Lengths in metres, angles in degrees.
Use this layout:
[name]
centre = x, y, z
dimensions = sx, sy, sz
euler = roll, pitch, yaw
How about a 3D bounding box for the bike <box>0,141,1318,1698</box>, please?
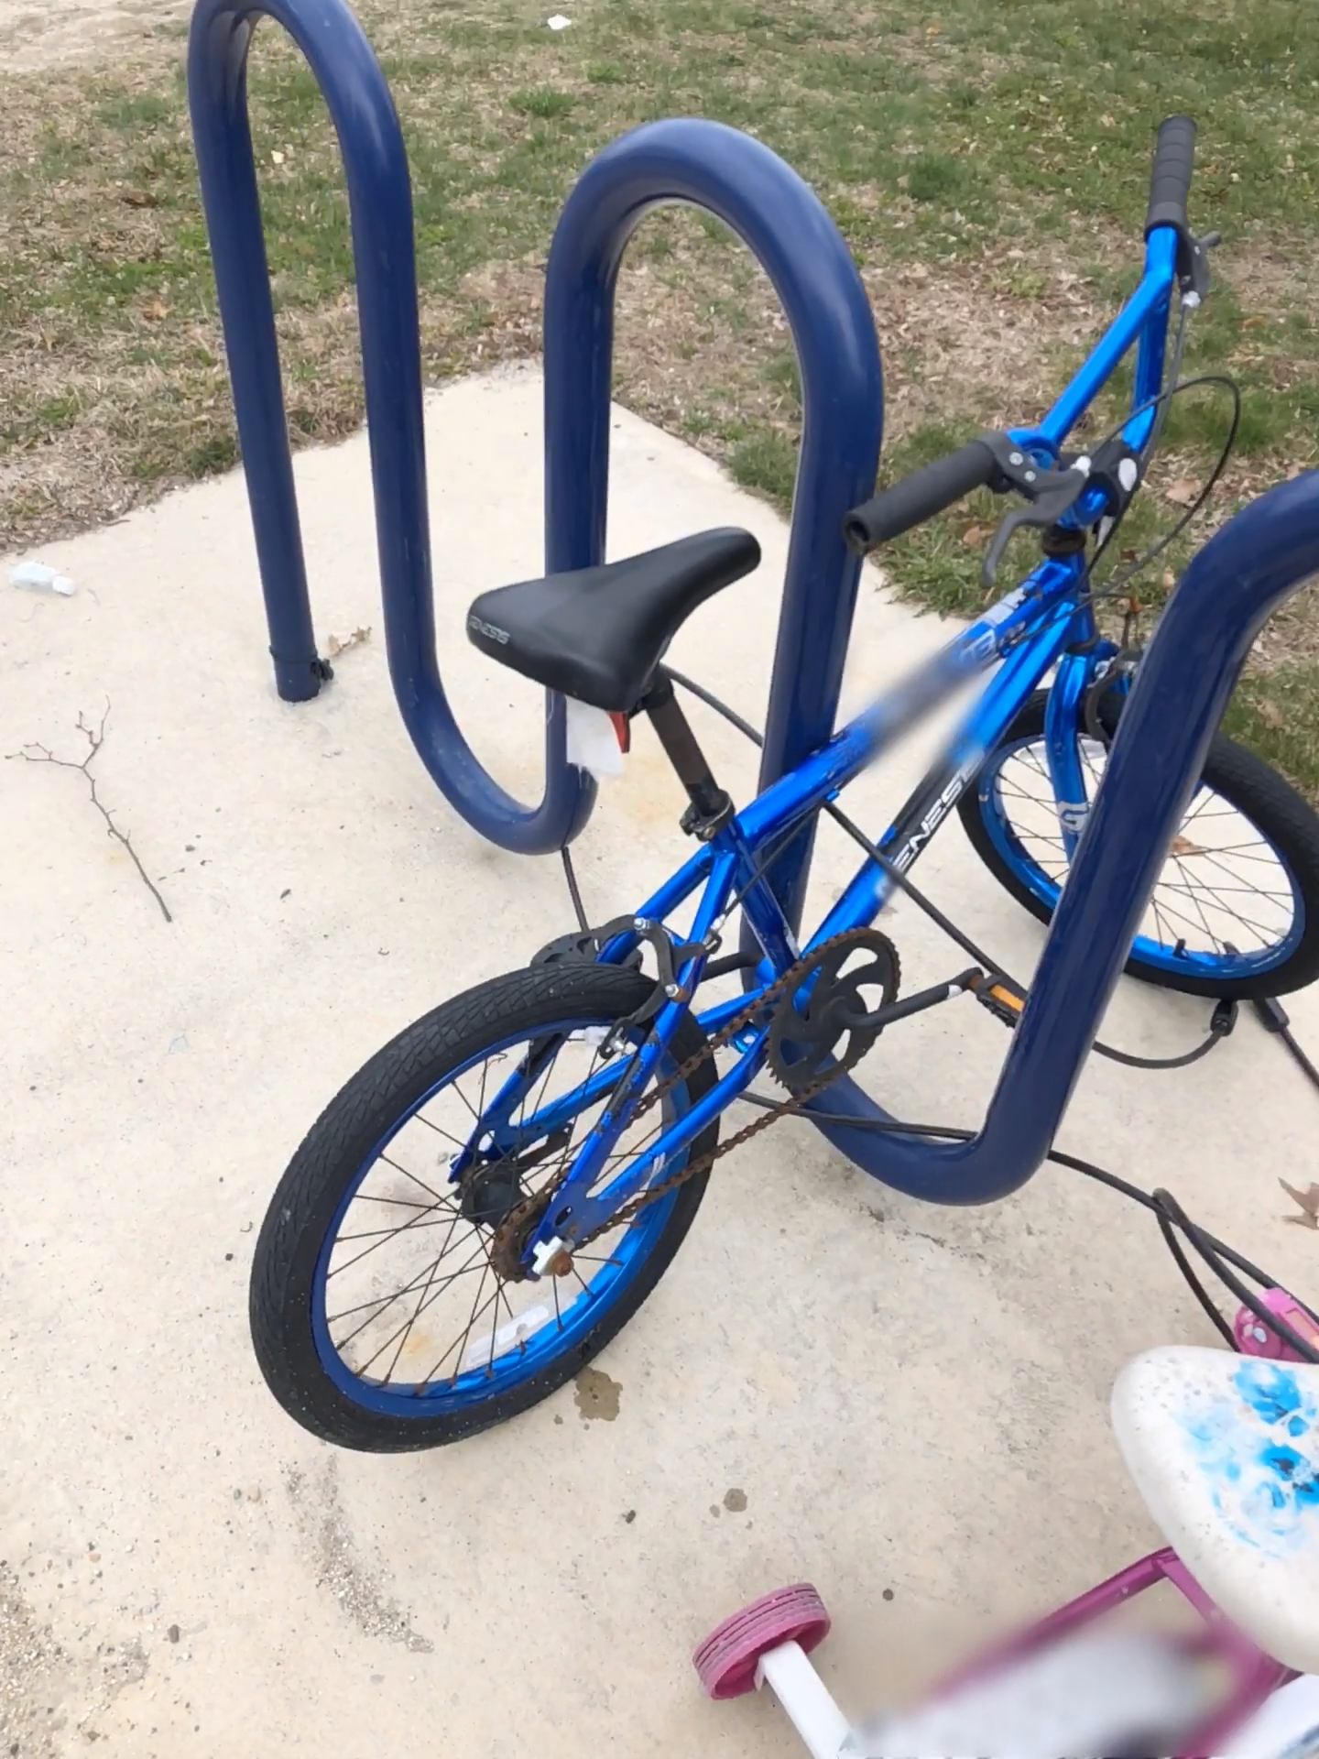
[bike]
centre = 0.116, -0.022, 1.161
dimensions = 1.031, 0.840, 0.623
euler = -19, 46, -24
